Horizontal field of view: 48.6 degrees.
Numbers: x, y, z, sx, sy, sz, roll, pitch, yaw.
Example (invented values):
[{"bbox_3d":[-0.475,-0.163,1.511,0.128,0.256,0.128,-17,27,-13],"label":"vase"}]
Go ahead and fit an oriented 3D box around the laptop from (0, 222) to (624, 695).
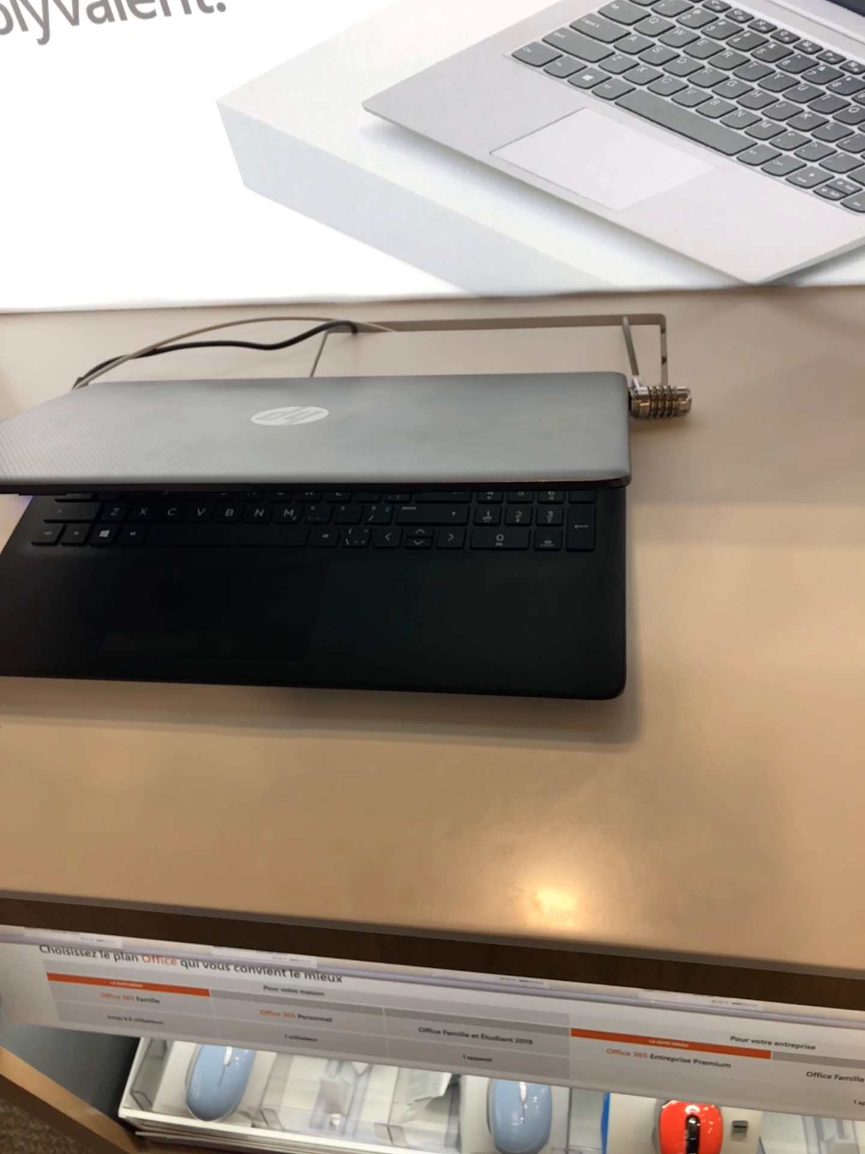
[{"bbox_3d":[-0.078,-0.074,0.524,0.351,0.107,0.239,1,49,12],"label":"laptop"}]
